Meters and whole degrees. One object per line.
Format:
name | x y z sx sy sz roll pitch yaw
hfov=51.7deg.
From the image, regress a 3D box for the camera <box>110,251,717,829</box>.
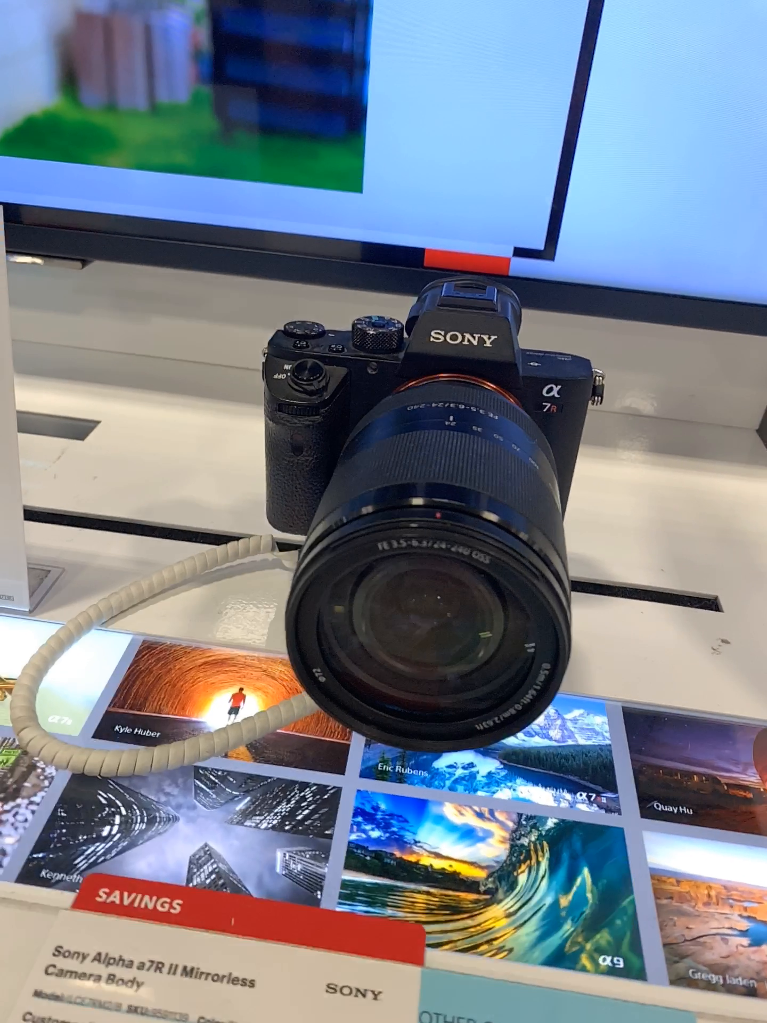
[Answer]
camera | 0.011 -0.008 0.268 0.130 0.099 0.173 6 34 3
